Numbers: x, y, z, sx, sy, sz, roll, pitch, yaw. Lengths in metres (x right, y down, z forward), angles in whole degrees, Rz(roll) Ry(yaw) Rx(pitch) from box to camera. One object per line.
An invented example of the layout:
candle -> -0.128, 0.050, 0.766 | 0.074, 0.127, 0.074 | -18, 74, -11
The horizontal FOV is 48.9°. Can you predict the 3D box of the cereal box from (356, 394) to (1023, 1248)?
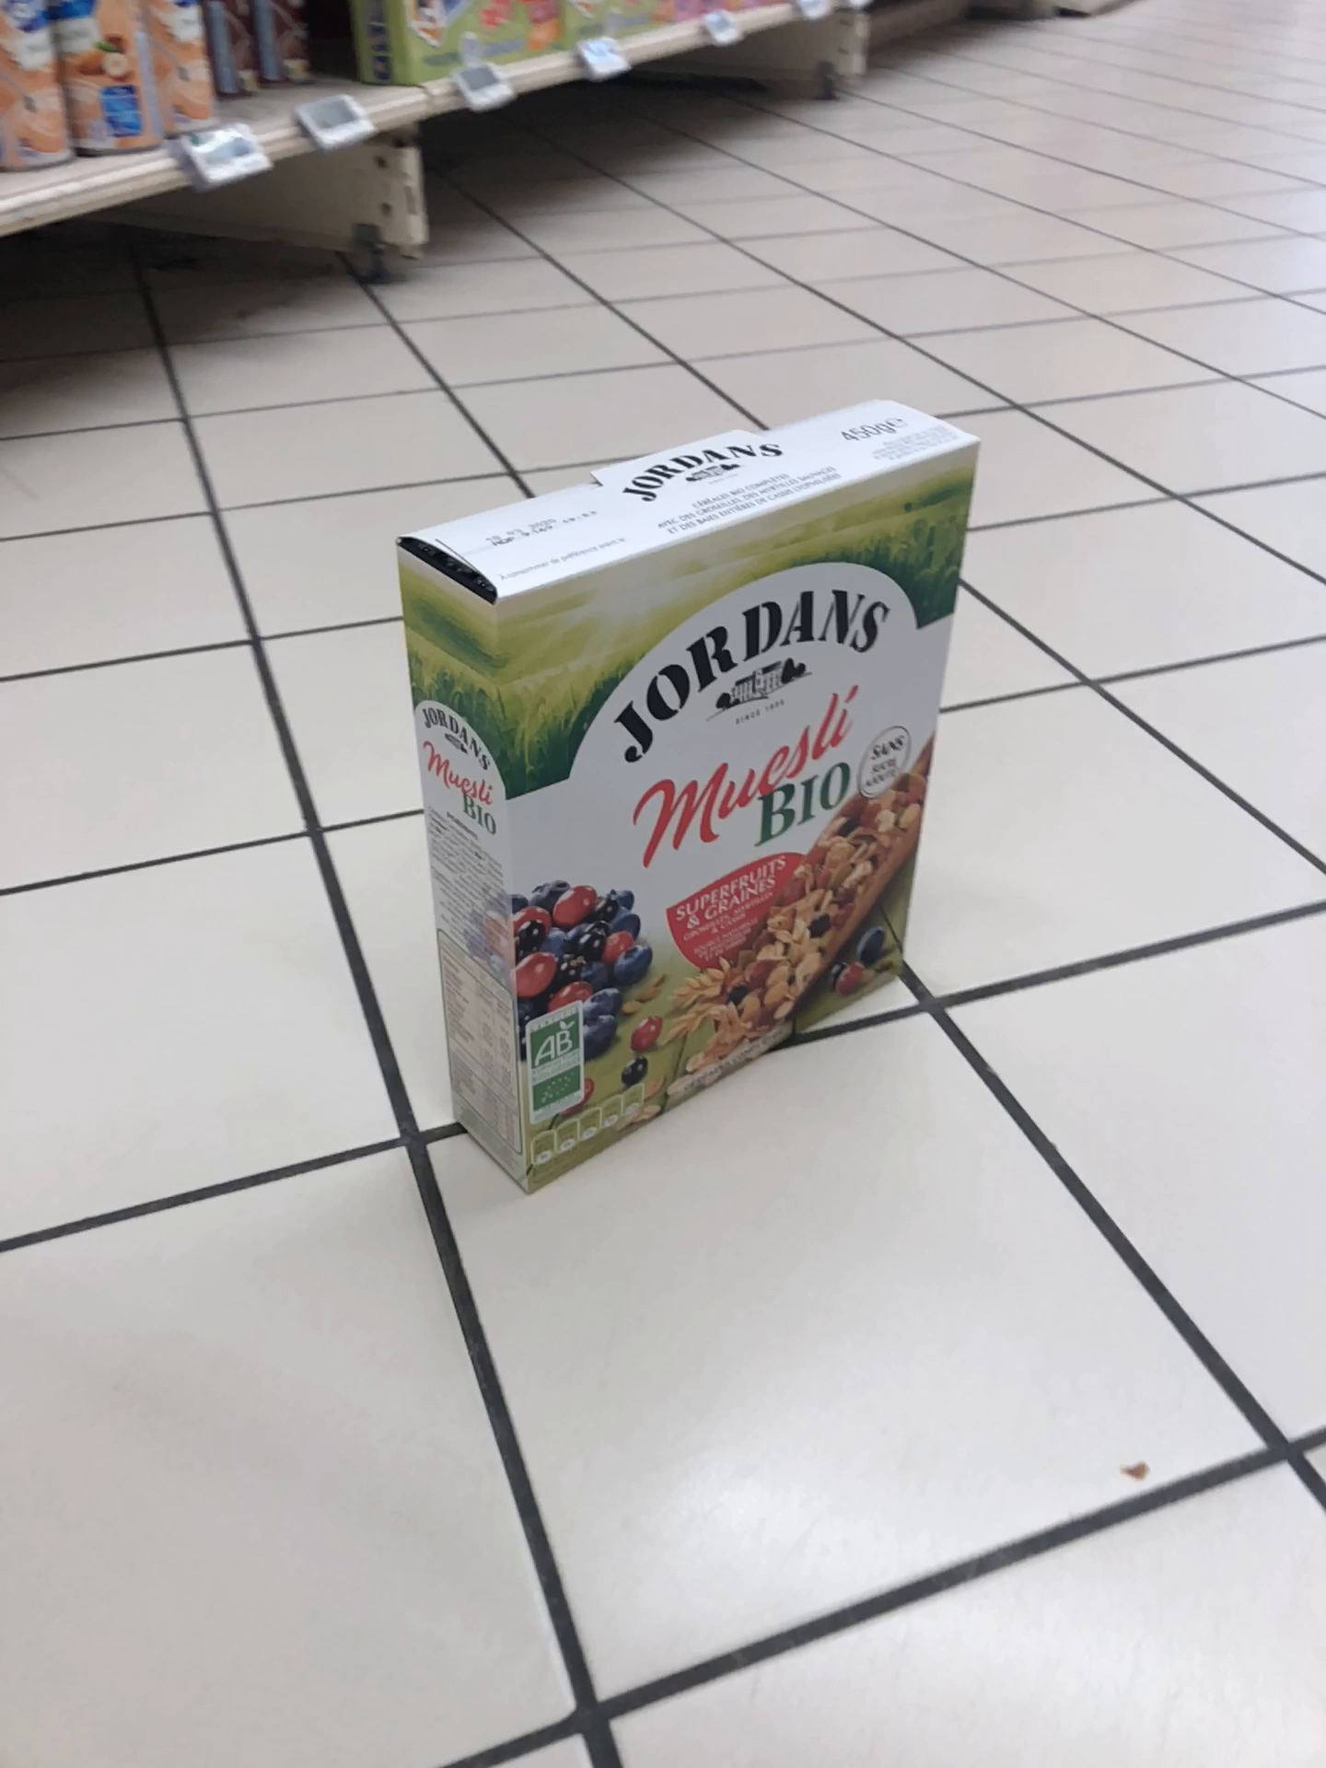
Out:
cereal box -> 0.011, -0.021, 0.466 | 0.191, 0.219, 0.060 | -26, 46, -32
